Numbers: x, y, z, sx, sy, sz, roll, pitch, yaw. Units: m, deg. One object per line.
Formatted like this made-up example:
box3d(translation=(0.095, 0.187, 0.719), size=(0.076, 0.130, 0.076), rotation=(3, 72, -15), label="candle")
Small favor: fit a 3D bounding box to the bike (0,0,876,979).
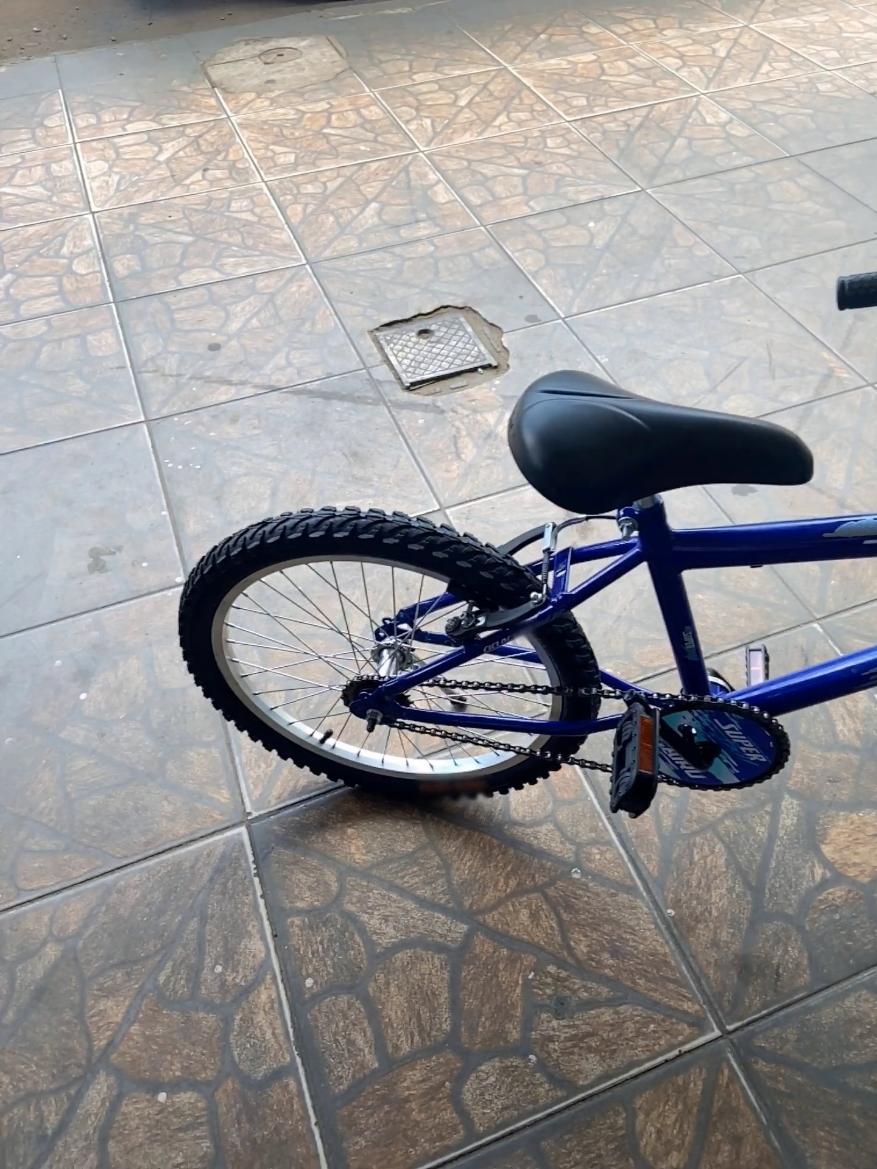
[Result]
box3d(translation=(0.249, -0.049, 0.843), size=(1.181, 0.950, 0.546), rotation=(-1, 52, 4), label="bike")
